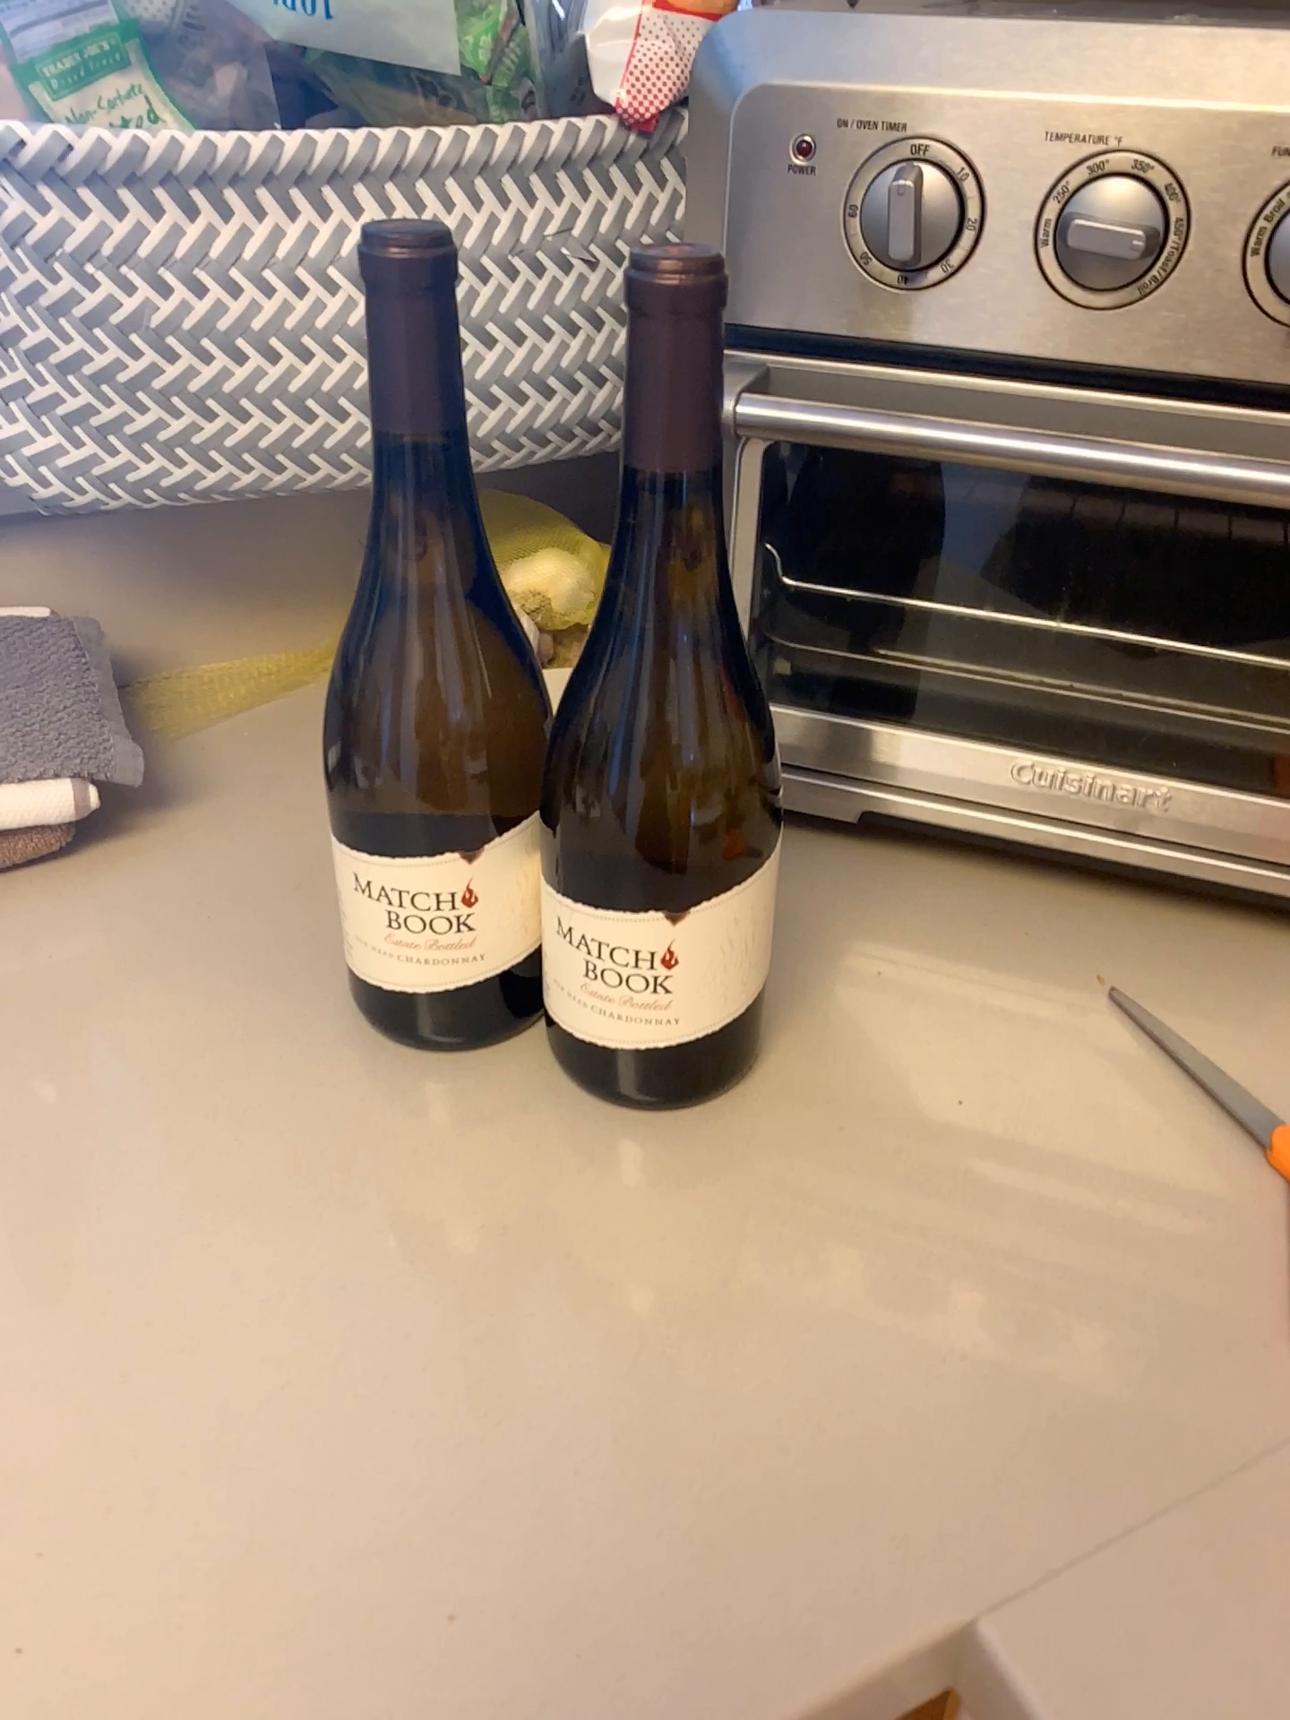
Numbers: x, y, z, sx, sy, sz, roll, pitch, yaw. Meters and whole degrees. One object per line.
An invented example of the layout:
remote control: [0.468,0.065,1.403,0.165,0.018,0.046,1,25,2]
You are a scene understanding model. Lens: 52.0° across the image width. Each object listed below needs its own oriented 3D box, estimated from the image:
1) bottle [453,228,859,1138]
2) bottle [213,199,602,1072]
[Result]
bottle: [0.005,-0.049,0.442,0.090,0.278,0.090,1,34,-1]
bottle: [-0.069,-0.068,0.472,0.090,0.288,0.091,1,34,-1]
